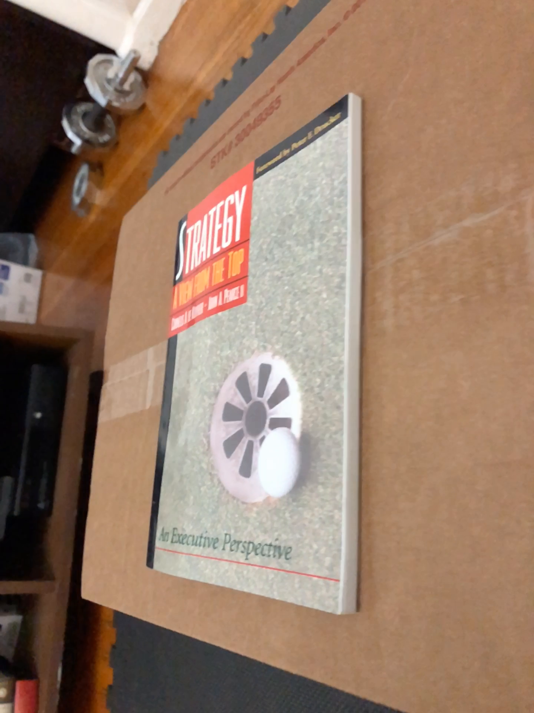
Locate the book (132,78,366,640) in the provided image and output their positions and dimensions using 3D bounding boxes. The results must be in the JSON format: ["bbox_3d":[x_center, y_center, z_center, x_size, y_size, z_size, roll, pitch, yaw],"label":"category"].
[{"bbox_3d":[-0.017,0.004,0.324,0.181,0.020,0.240,-17,66,54],"label":"book"}]
